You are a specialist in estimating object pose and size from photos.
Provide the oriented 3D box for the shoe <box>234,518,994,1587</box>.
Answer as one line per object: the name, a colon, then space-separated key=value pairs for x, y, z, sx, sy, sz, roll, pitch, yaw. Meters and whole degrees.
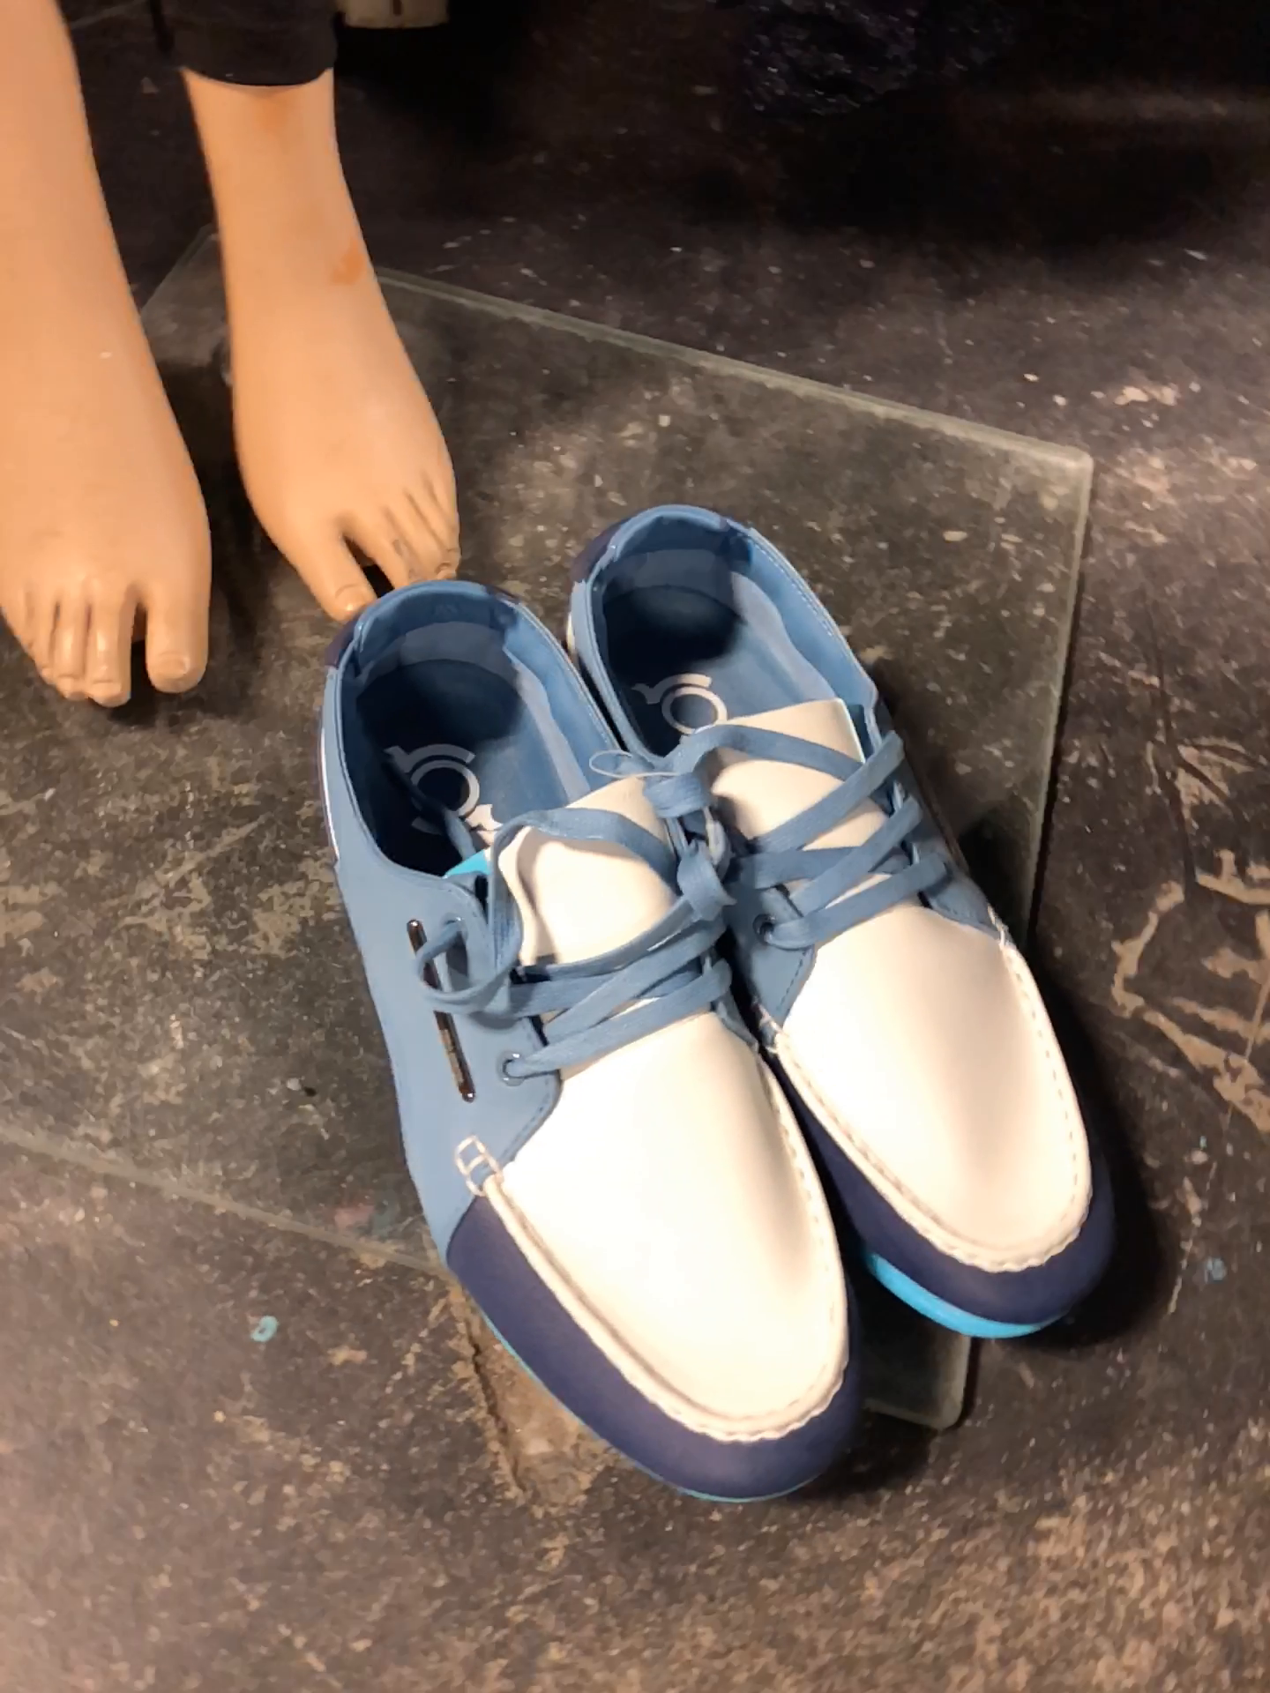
shoe: x=-0.022 y=0.045 z=0.387 sx=0.090 sy=0.099 sz=0.261 roll=-19 pitch=62 yaw=-17

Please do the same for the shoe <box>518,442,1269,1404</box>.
shoe: x=0.060 y=0.013 z=0.416 sx=0.100 sy=0.099 sz=0.251 roll=-20 pitch=62 yaw=-14
